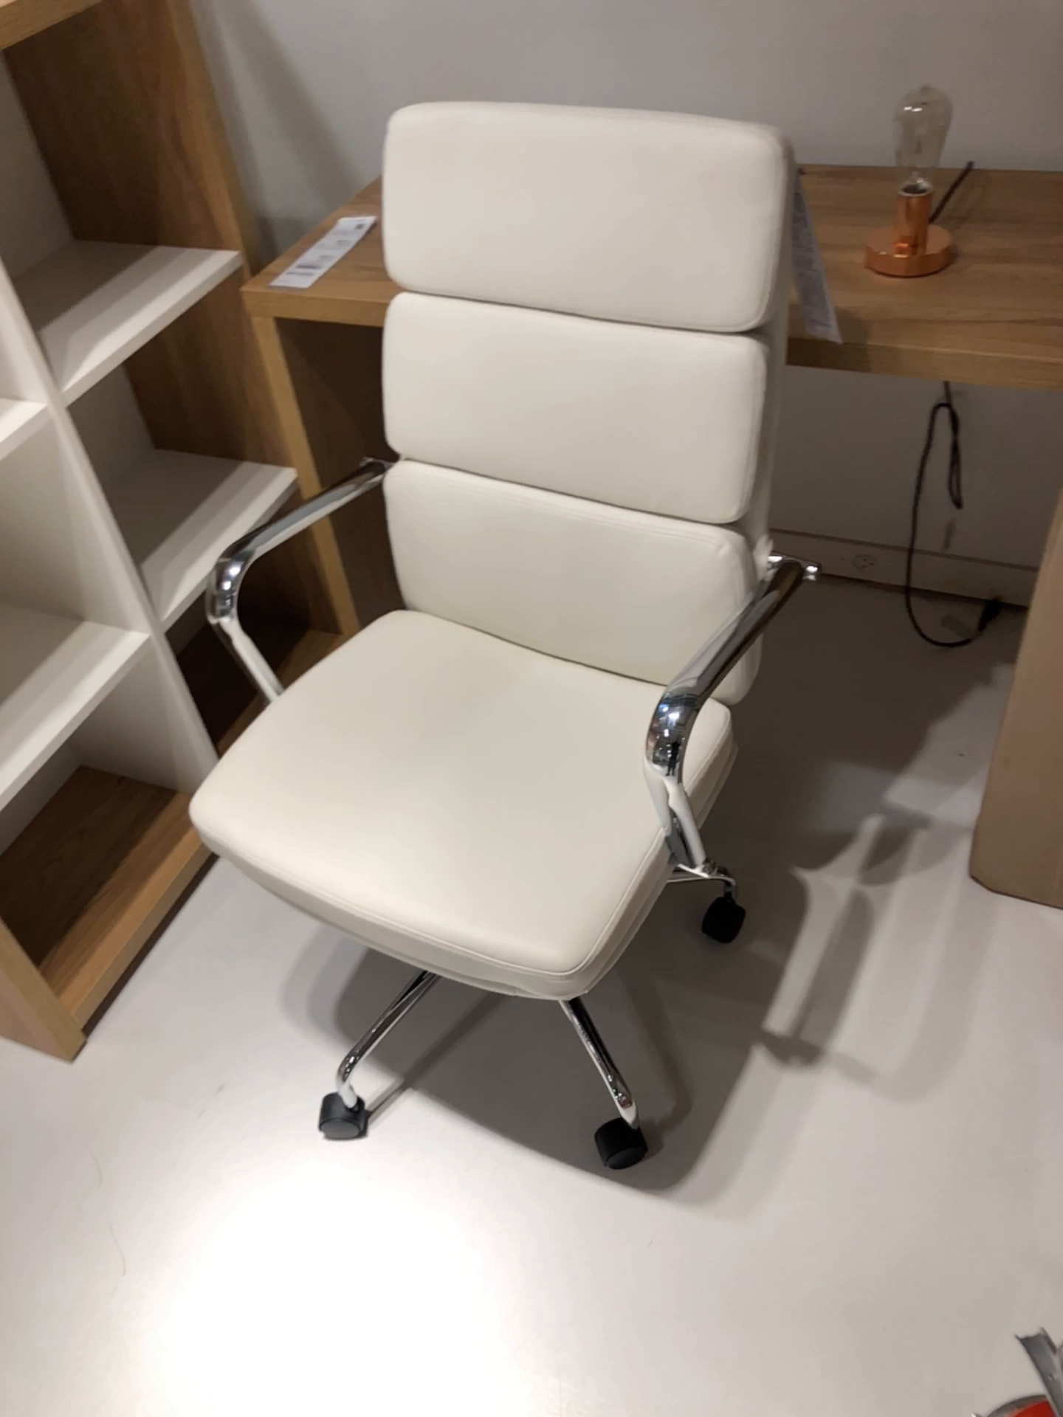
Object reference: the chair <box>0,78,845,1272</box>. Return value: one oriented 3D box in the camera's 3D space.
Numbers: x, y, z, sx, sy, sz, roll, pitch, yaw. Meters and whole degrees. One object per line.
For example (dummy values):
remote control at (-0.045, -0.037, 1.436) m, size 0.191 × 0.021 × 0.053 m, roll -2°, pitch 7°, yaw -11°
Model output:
chair at (-0.093, -0.026, 1.312) m, size 0.641 × 1.033 × 0.684 m, roll 14°, pitch 48°, yaw 23°
